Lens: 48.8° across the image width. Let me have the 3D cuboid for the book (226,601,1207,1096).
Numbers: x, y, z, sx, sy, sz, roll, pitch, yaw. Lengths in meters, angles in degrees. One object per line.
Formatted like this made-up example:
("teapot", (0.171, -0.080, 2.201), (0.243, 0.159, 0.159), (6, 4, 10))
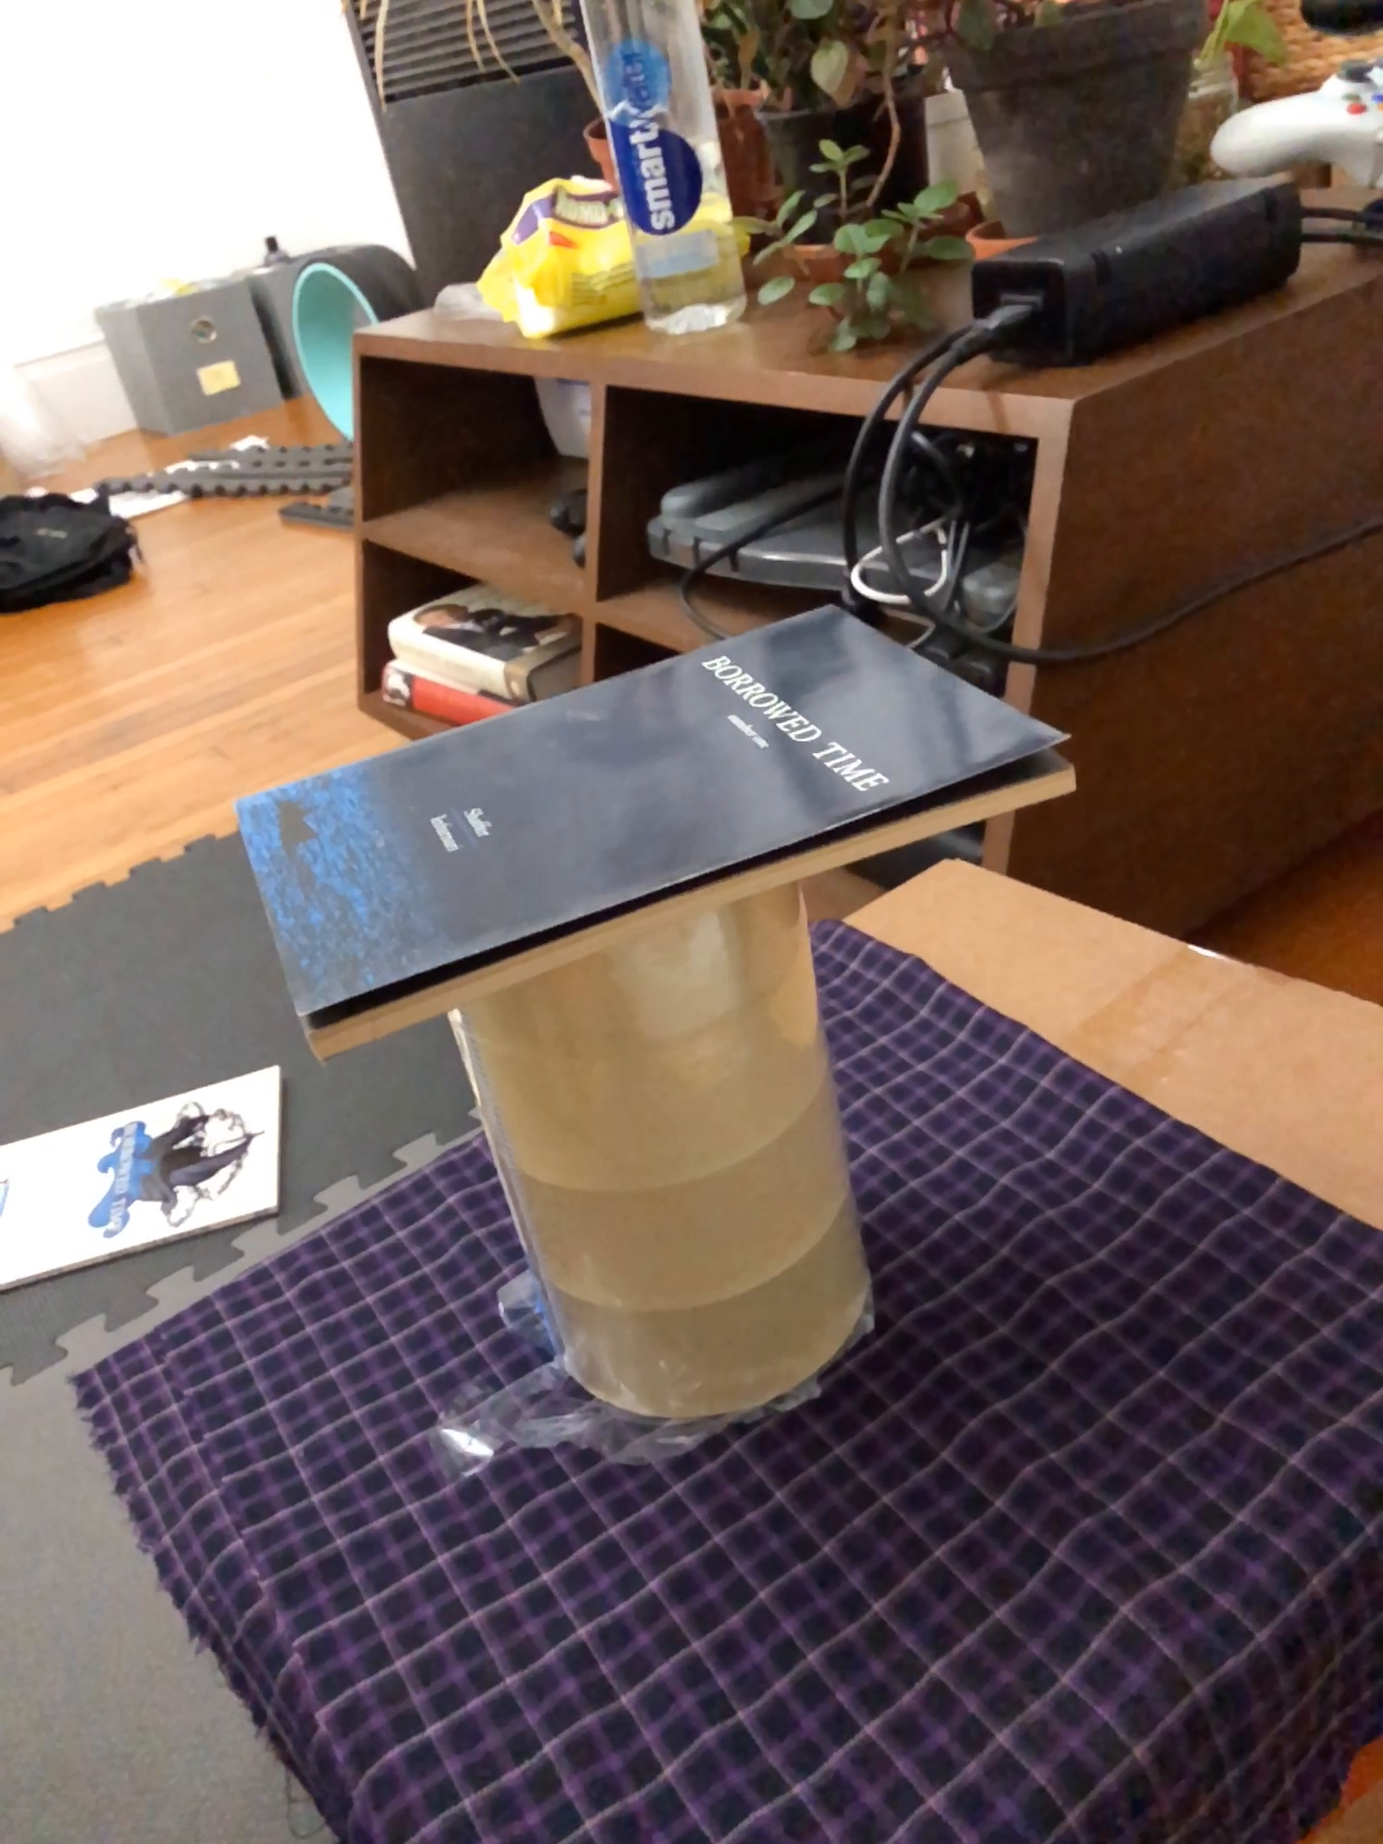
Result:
("book", (-0.004, -0.036, 0.424), (0.230, 0.010, 0.161), (-18, 31, -15))
